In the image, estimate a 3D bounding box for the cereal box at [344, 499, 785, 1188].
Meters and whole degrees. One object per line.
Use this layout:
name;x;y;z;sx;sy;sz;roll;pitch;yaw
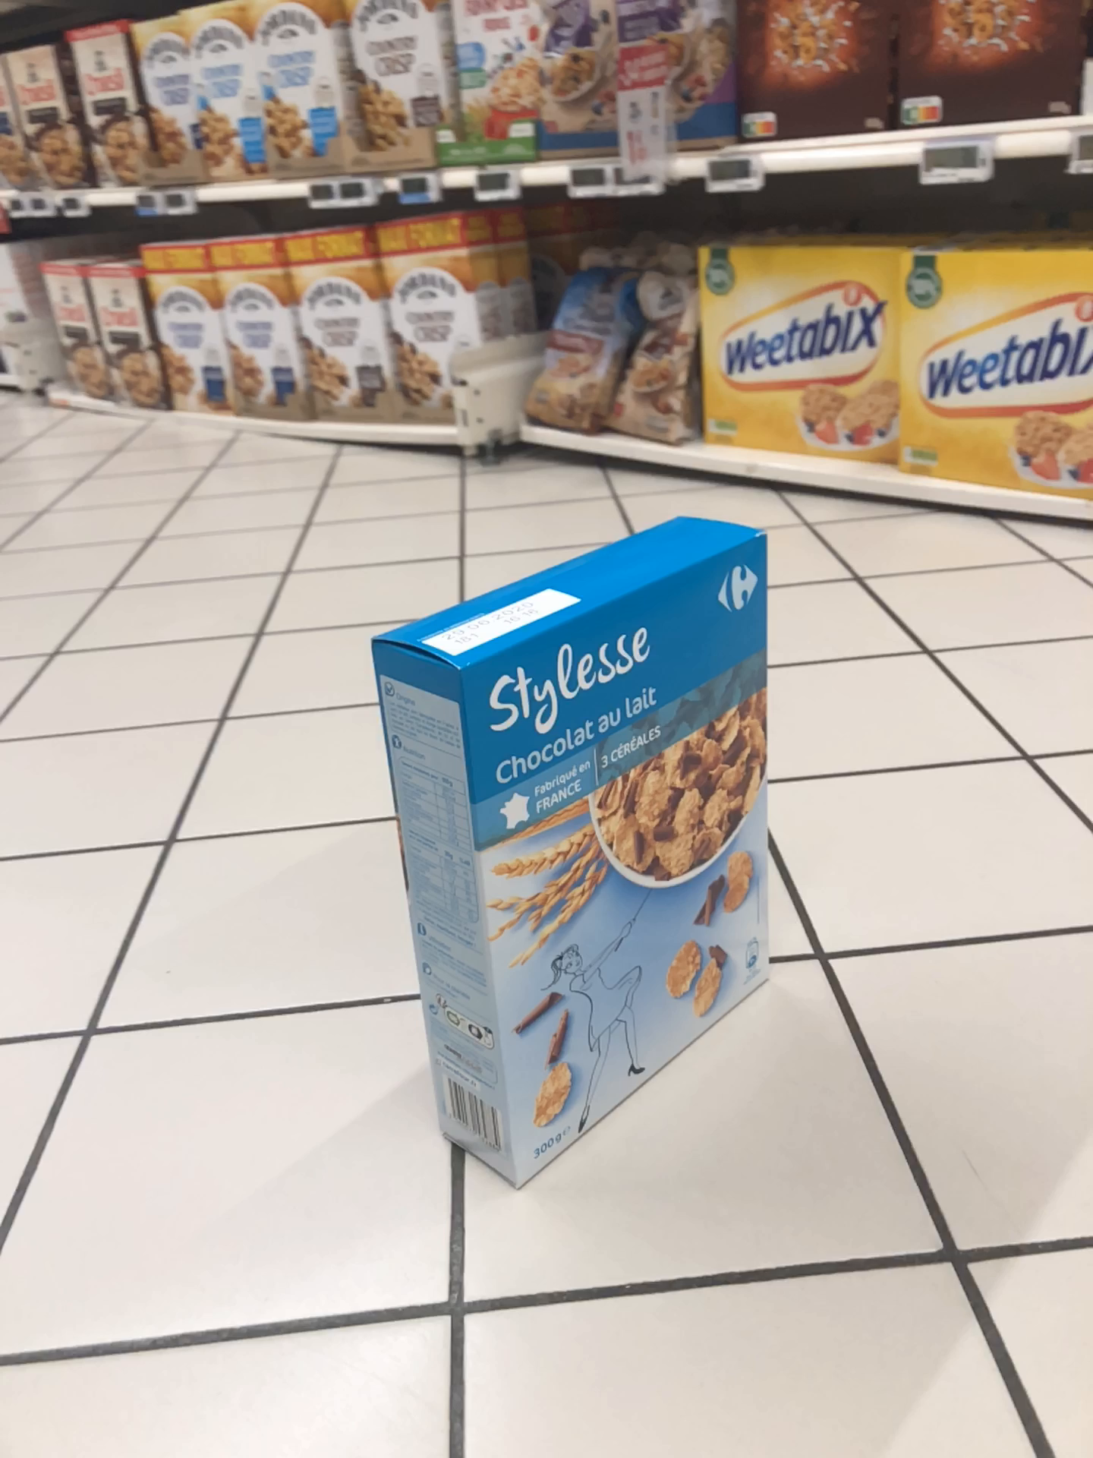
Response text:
cereal box;0.025;0.043;0.561;0.070;0.249;0.201;18;33;40
